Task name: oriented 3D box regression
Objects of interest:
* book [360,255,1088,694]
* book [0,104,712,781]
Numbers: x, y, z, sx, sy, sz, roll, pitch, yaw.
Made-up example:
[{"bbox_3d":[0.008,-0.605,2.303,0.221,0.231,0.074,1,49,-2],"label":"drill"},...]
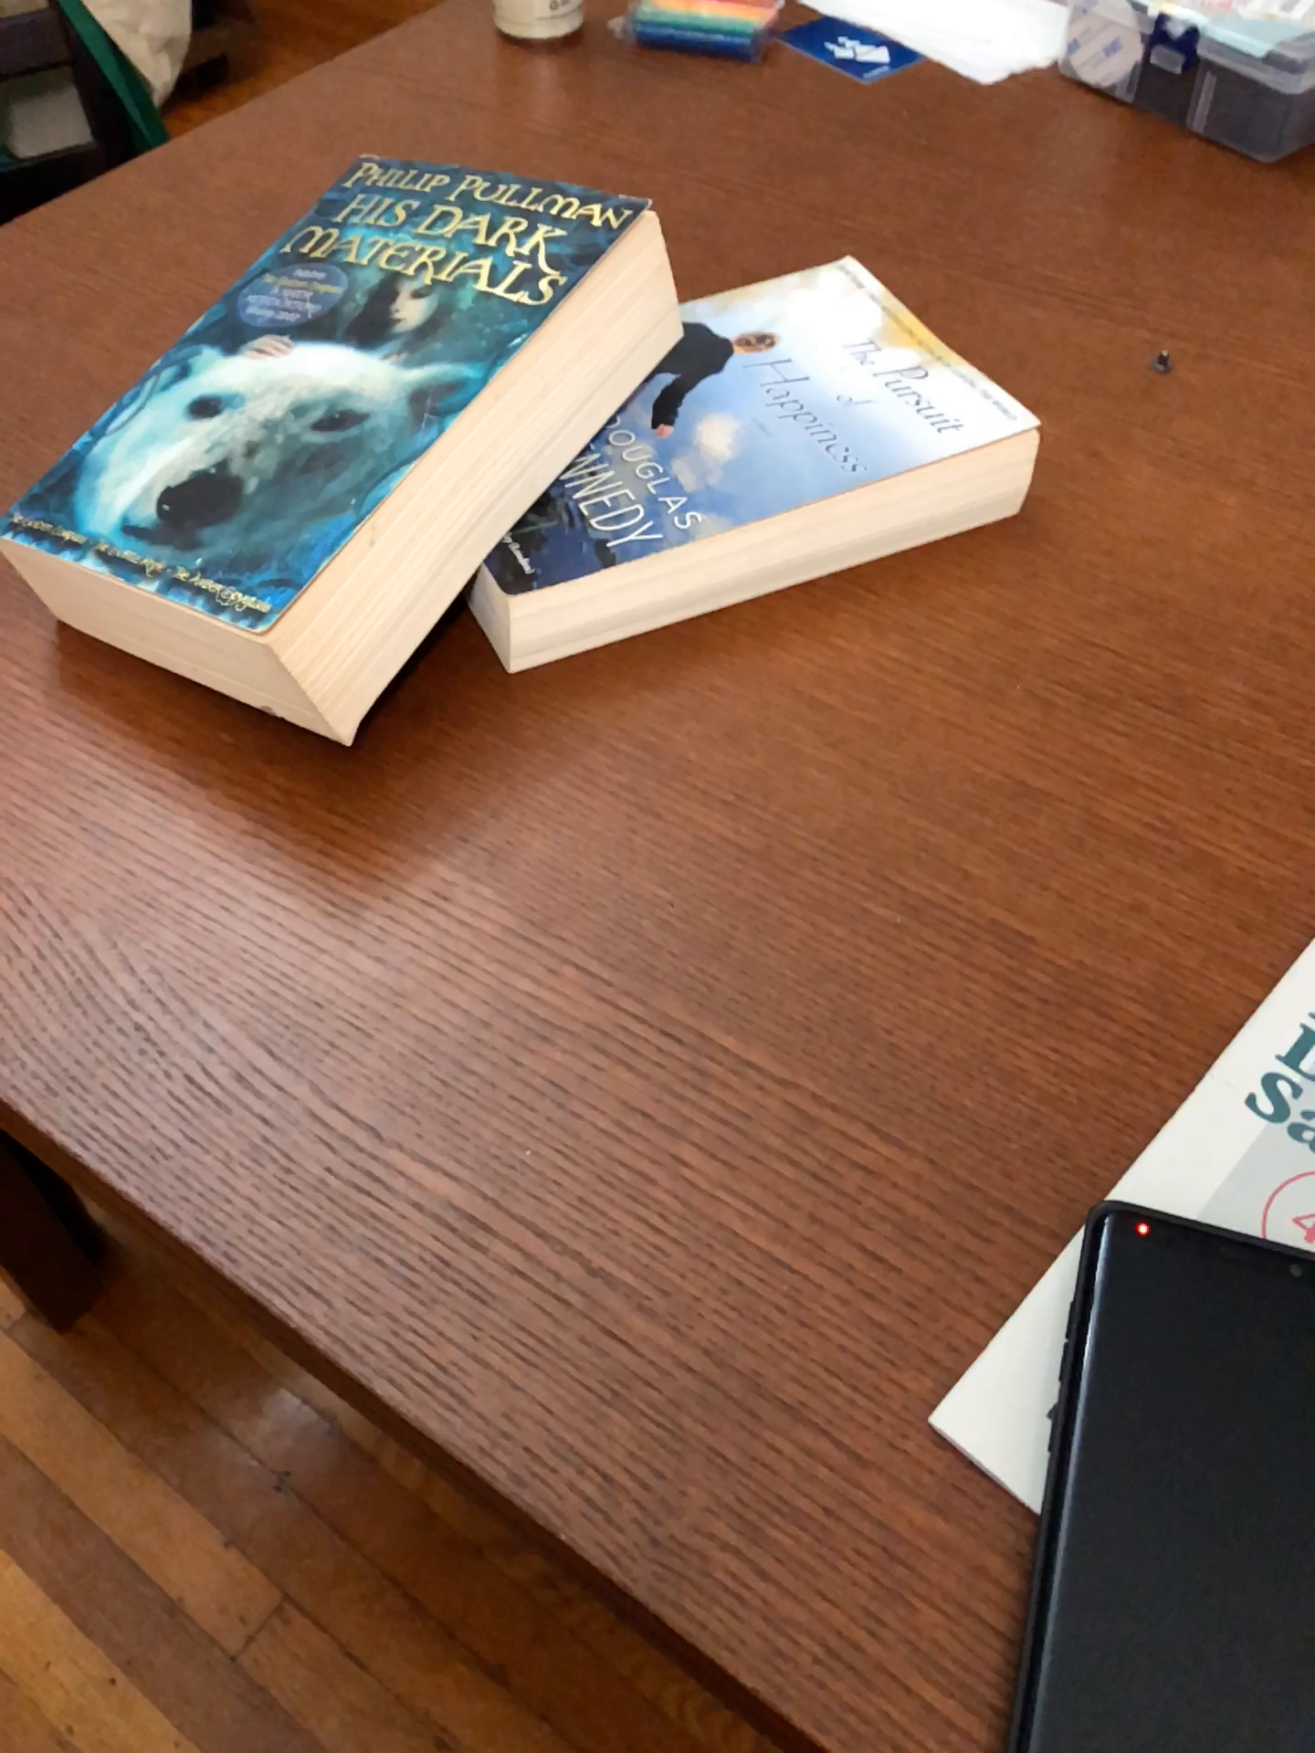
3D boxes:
[{"bbox_3d":[0.019,-0.172,0.584,0.240,0.040,0.171,-19,46,-11],"label":"book"},{"bbox_3d":[-0.118,-0.171,0.528,0.170,0.060,0.241,23,67,25],"label":"book"}]
